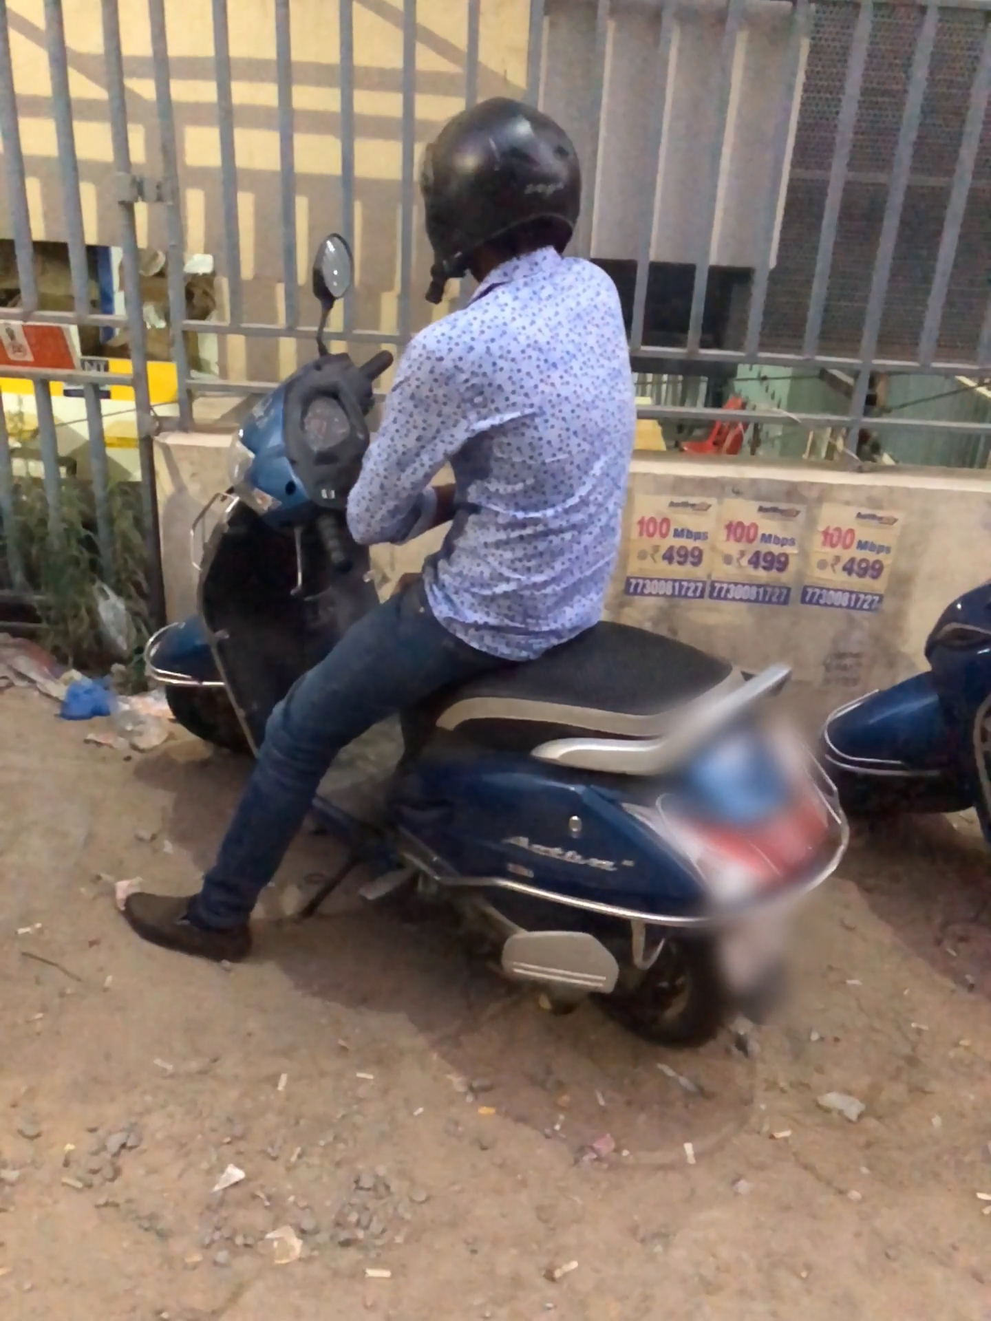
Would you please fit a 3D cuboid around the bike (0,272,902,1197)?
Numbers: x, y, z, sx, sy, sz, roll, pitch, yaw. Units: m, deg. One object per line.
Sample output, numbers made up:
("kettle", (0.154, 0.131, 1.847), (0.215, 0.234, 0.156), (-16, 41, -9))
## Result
("bike", (-0.176, 0.010, 2.087), (1.471, 1.130, 0.618), (22, 30, 27))
